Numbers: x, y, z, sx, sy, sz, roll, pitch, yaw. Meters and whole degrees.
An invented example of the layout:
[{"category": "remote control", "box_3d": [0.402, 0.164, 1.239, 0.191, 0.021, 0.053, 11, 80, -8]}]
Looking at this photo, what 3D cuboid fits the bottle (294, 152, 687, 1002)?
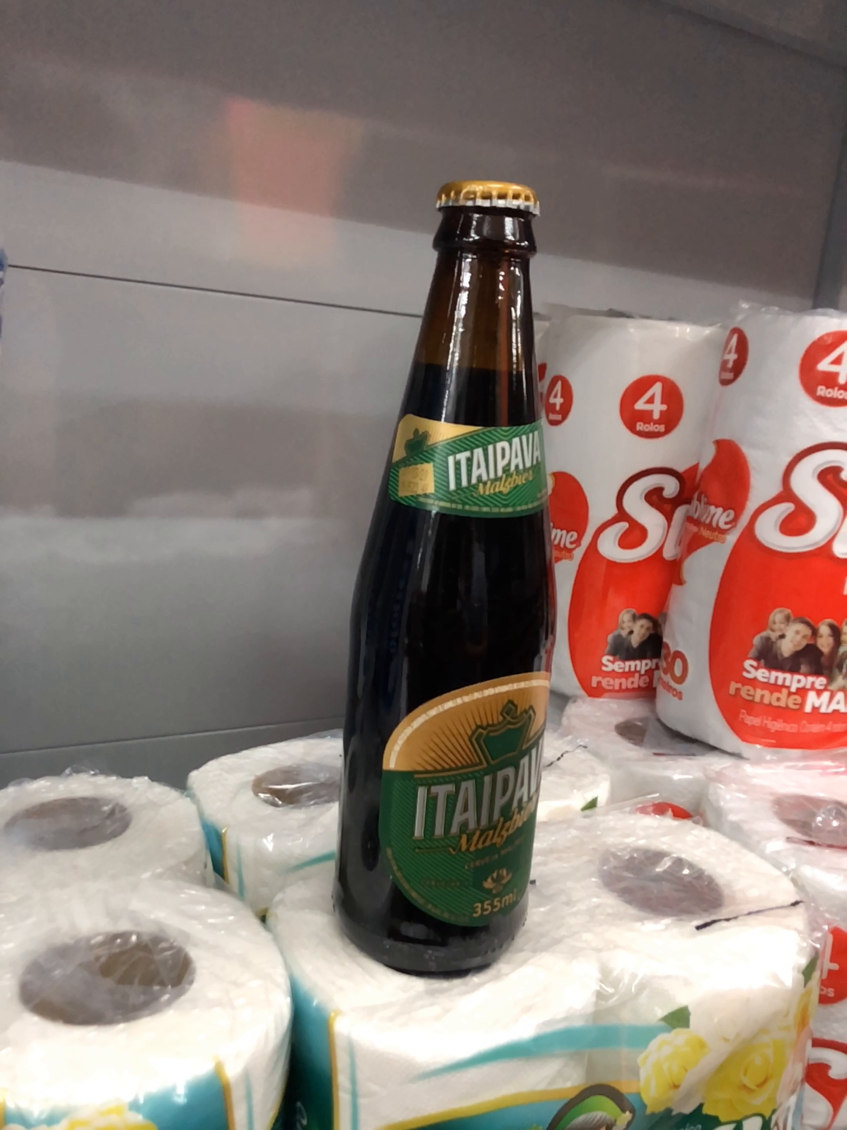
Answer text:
[{"category": "bottle", "box_3d": [0.014, 0.004, 0.279, 0.070, 0.219, 0.060, -3, 15, -34]}]
